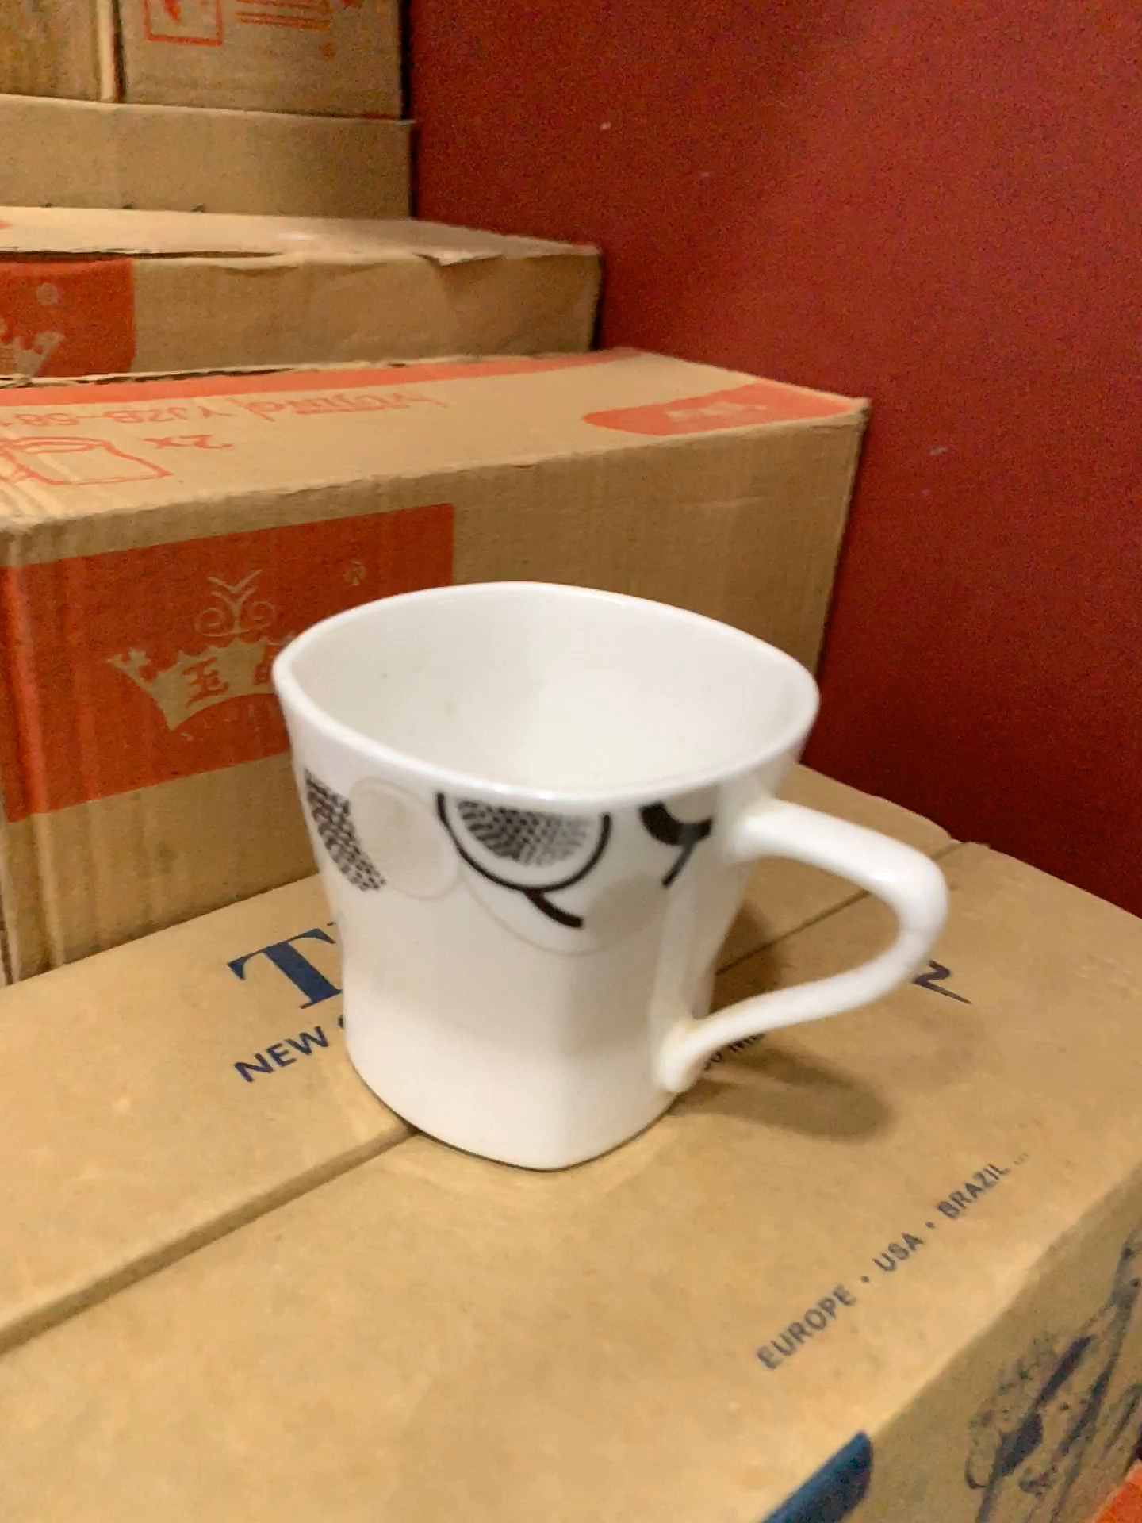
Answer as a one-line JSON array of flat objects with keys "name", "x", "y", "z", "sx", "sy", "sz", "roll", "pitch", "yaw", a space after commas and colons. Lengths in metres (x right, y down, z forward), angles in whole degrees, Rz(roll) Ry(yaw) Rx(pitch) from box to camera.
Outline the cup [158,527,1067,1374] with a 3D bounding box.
[{"name": "cup", "x": 0.004, "y": 0.014, "z": 0.155, "sx": 0.090, "sy": 0.060, "sz": 0.060, "roll": 18, "pitch": 30, "yaw": 27}]
